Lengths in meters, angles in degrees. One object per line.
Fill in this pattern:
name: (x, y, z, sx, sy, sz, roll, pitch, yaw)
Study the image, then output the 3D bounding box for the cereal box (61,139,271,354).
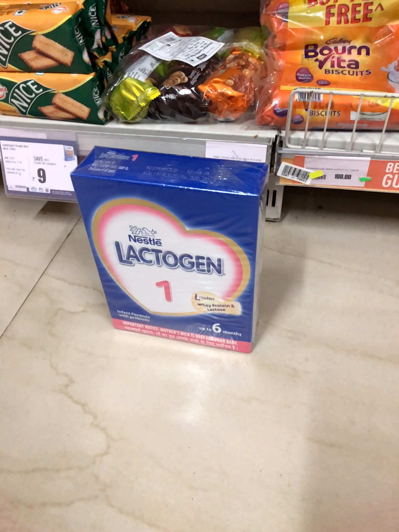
cereal box: (-0.021, -0.009, 0.396, 0.150, 0.189, 0.050, 9, 46, 12)
